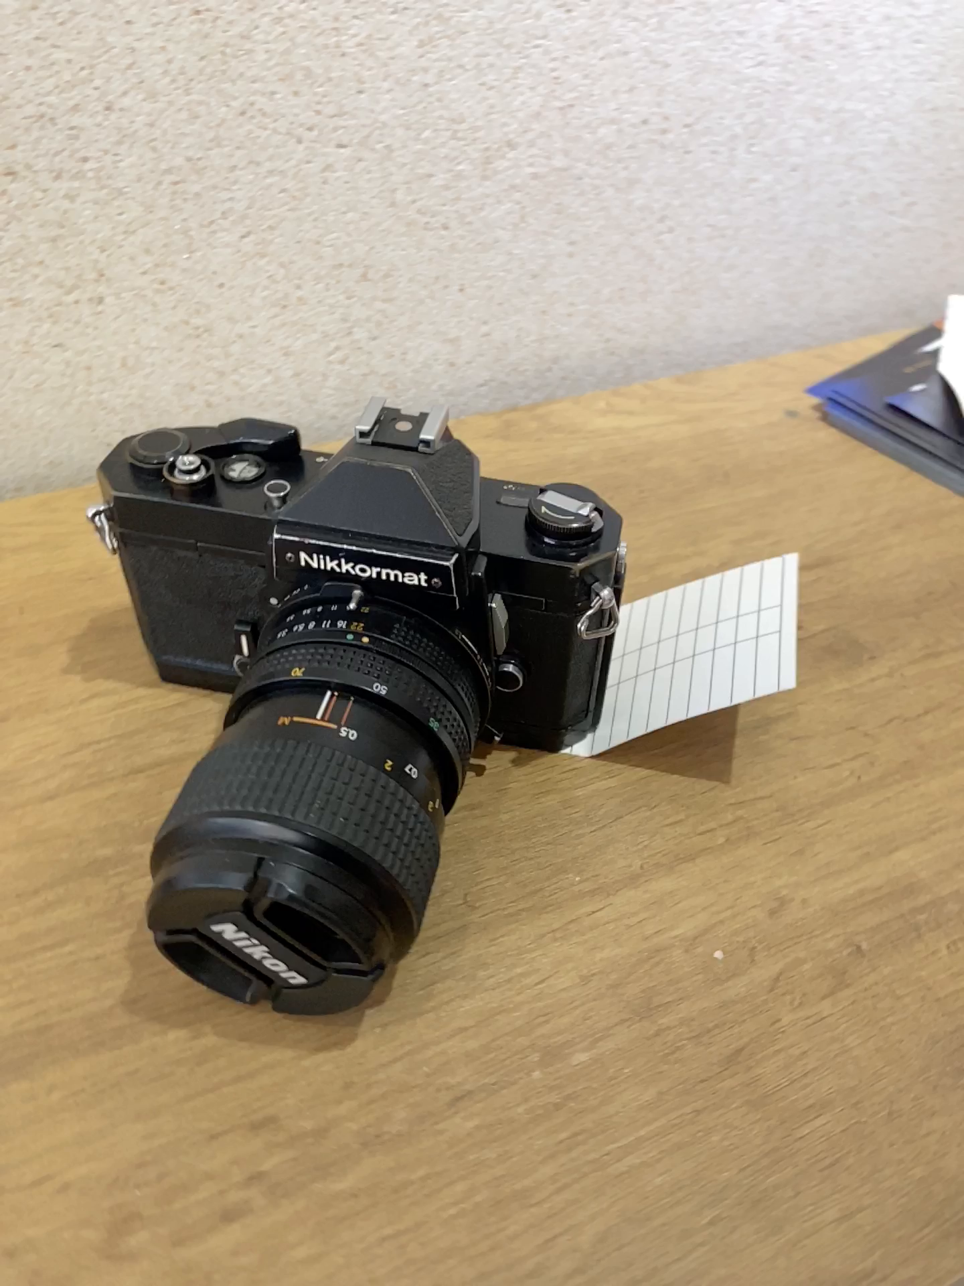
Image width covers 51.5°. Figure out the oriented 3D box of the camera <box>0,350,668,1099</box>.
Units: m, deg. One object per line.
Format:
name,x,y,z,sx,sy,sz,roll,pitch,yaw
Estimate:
camera,-0.047,0.008,0.257,0.160,0.089,0.141,11,42,10
